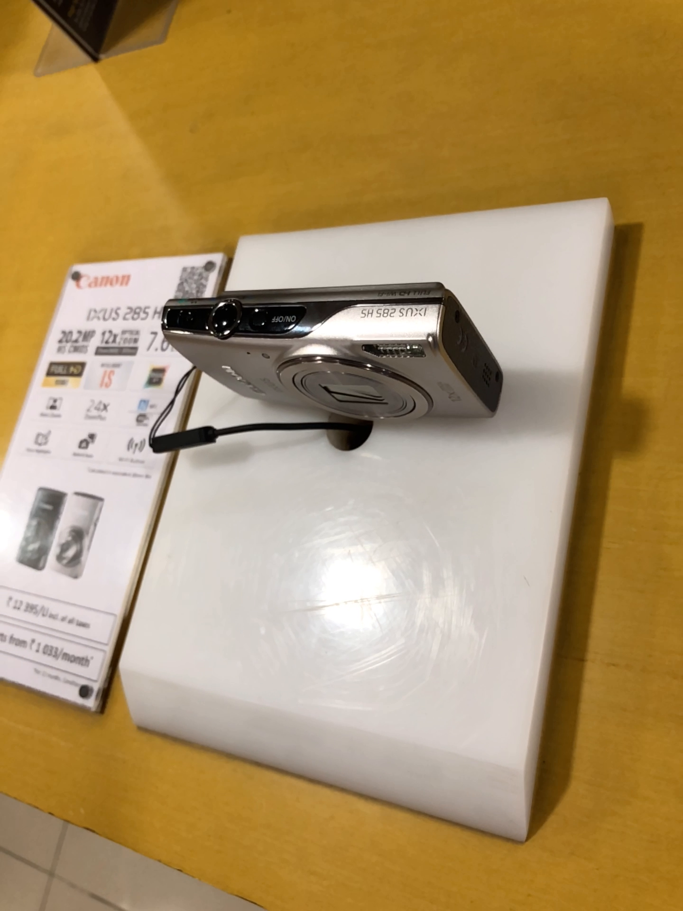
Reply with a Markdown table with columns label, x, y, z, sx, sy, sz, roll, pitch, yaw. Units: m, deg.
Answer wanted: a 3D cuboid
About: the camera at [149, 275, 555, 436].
| label | x | y | z | sx | sy | sz | roll | pitch | yaw |
| --- | --- | --- | --- | --- | --- | --- | --- | --- | --- |
| camera | 0.003 | -0.029 | 0.238 | 0.110 | 0.060 | 0.020 | 4 | 73 | 30 |
